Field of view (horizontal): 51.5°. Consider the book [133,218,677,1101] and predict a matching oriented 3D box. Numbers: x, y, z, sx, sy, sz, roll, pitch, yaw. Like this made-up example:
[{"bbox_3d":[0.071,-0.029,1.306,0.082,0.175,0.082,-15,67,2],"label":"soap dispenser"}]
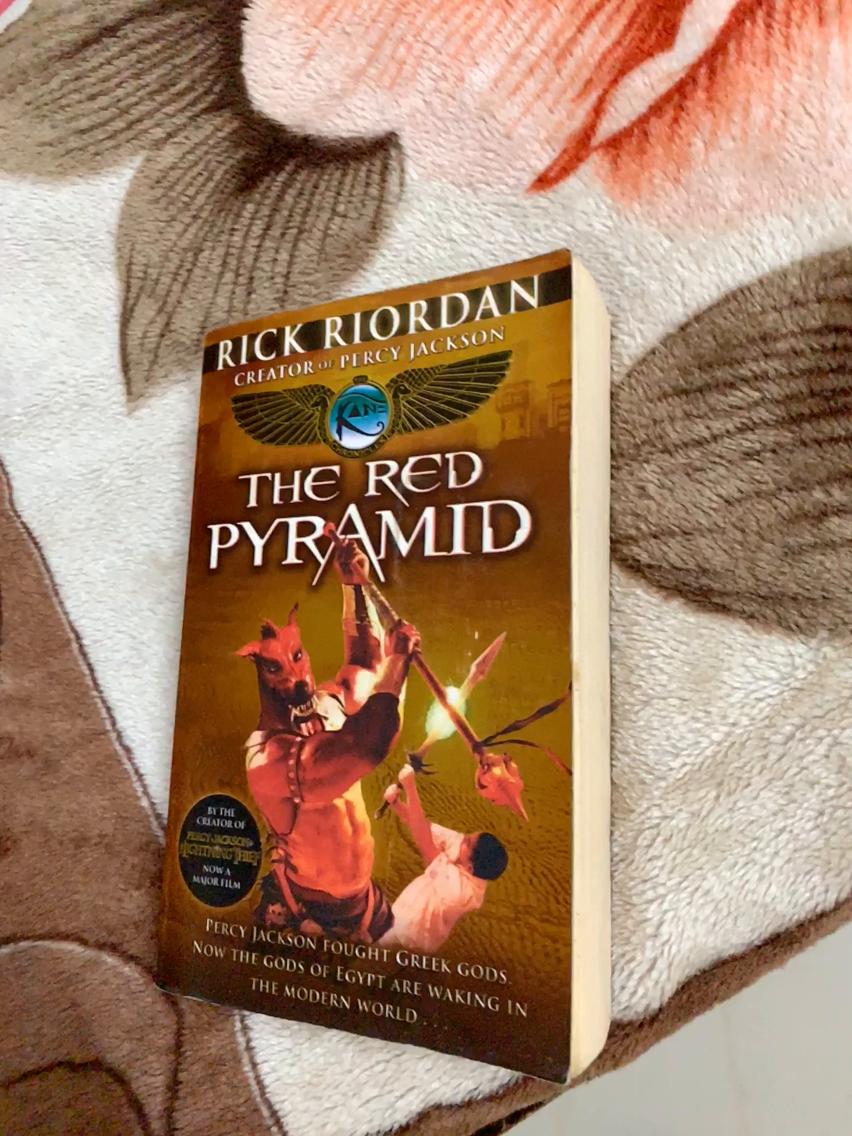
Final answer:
[{"bbox_3d":[-0.006,0.019,0.269,0.150,0.040,0.220,-3,78,24],"label":"book"}]
